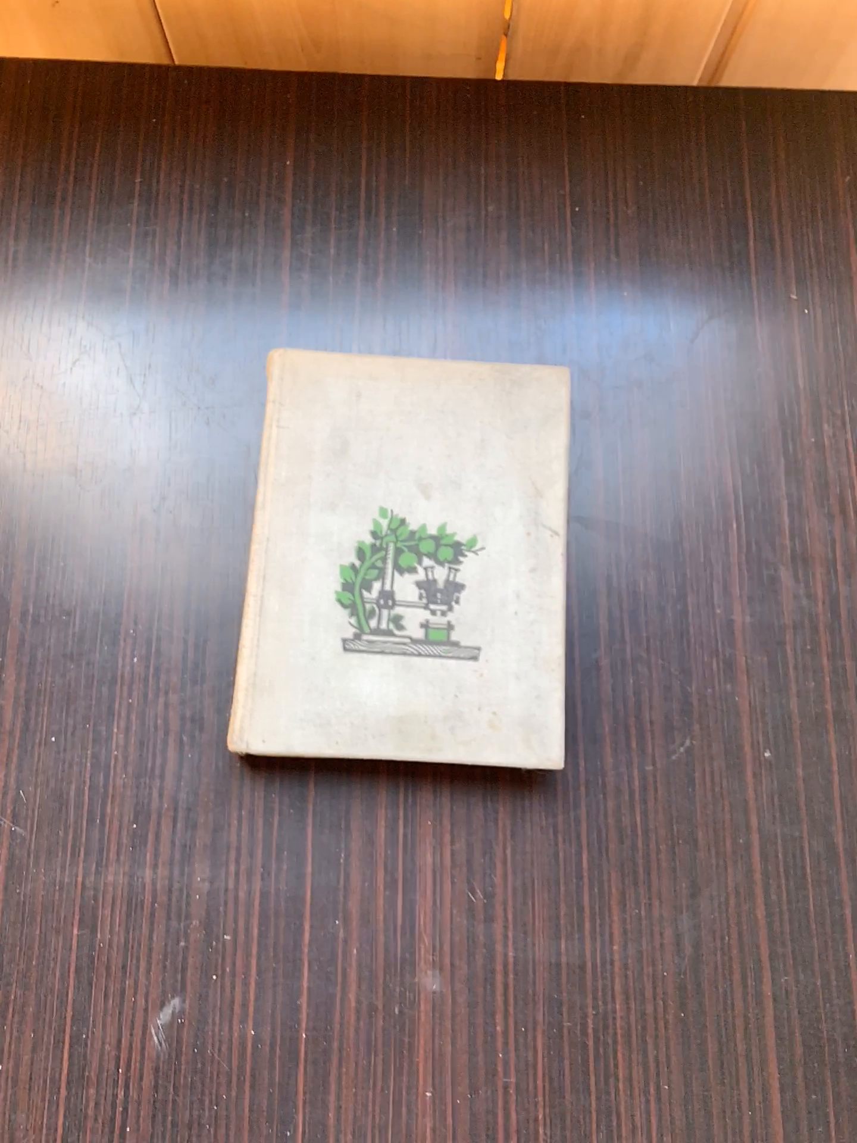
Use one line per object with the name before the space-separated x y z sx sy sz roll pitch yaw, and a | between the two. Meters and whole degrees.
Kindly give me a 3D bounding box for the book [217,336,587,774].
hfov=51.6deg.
book | -0.007 -0.008 0.356 0.135 0.028 0.169 2 77 -1
